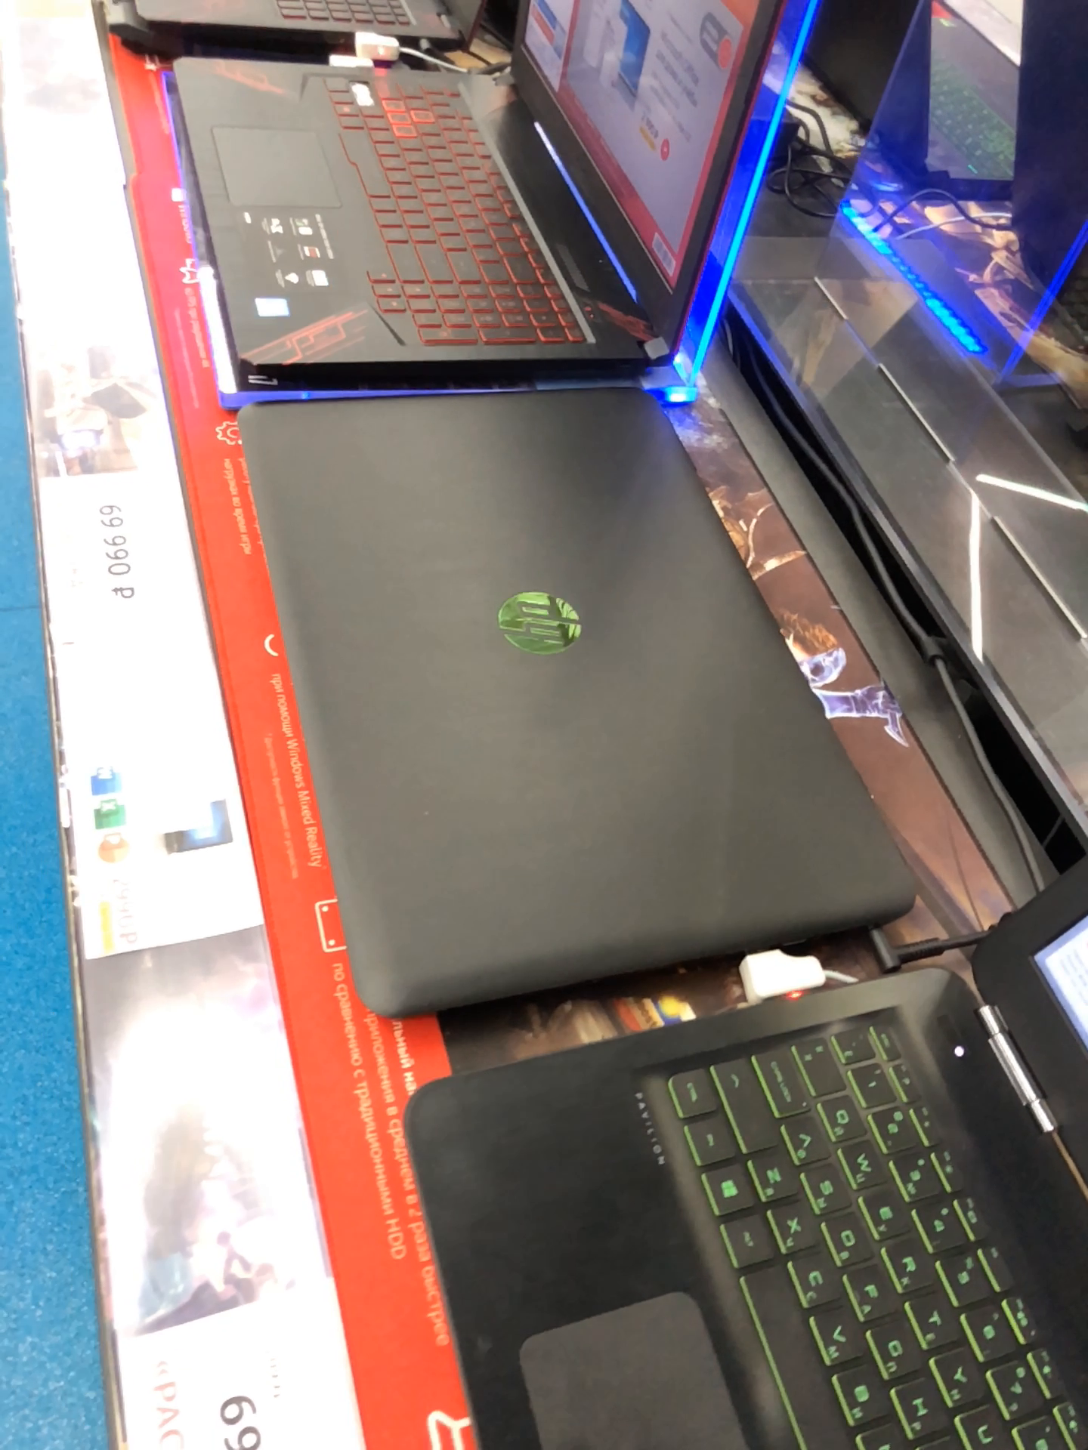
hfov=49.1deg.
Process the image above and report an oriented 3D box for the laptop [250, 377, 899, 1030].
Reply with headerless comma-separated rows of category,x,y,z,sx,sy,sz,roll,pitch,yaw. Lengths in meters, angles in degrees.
laptop,-0.005,-0.046,0.590,0.233,0.012,0.366,-8,55,-16
